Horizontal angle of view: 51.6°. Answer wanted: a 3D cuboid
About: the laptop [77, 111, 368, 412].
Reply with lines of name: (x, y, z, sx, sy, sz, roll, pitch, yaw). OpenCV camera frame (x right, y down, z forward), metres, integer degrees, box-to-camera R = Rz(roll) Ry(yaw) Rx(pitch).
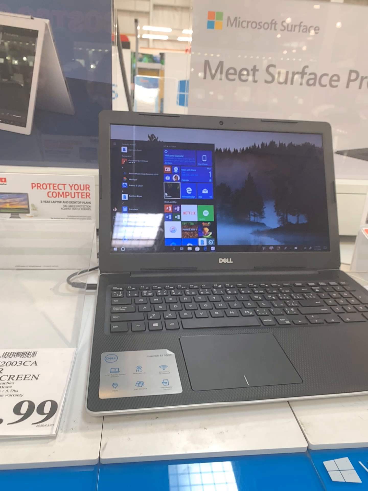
laptop: (0.077, -0.030, 0.447, 0.357, 0.205, 0.343, 0, 21, -11)
